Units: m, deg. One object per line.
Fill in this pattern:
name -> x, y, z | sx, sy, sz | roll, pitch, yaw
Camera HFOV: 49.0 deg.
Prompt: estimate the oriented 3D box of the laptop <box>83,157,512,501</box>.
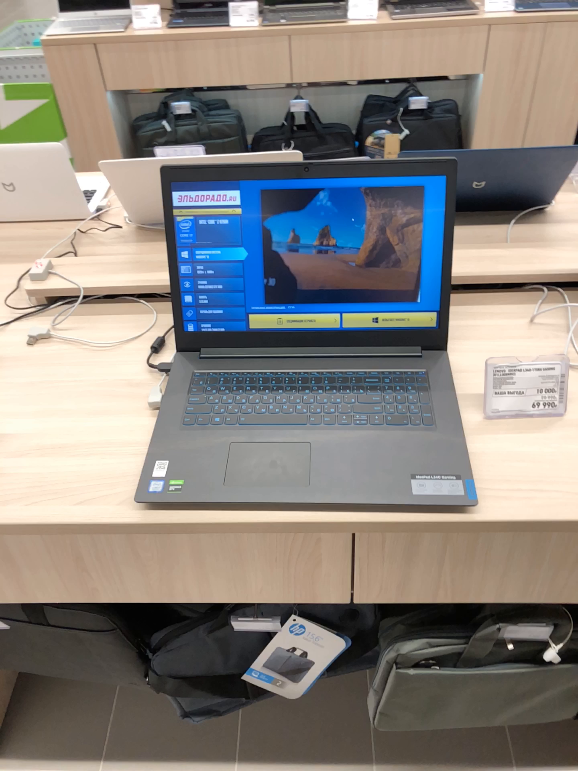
laptop -> 0.019, -0.087, 0.804 | 0.395, 0.242, 0.382 | 0, 42, 4
